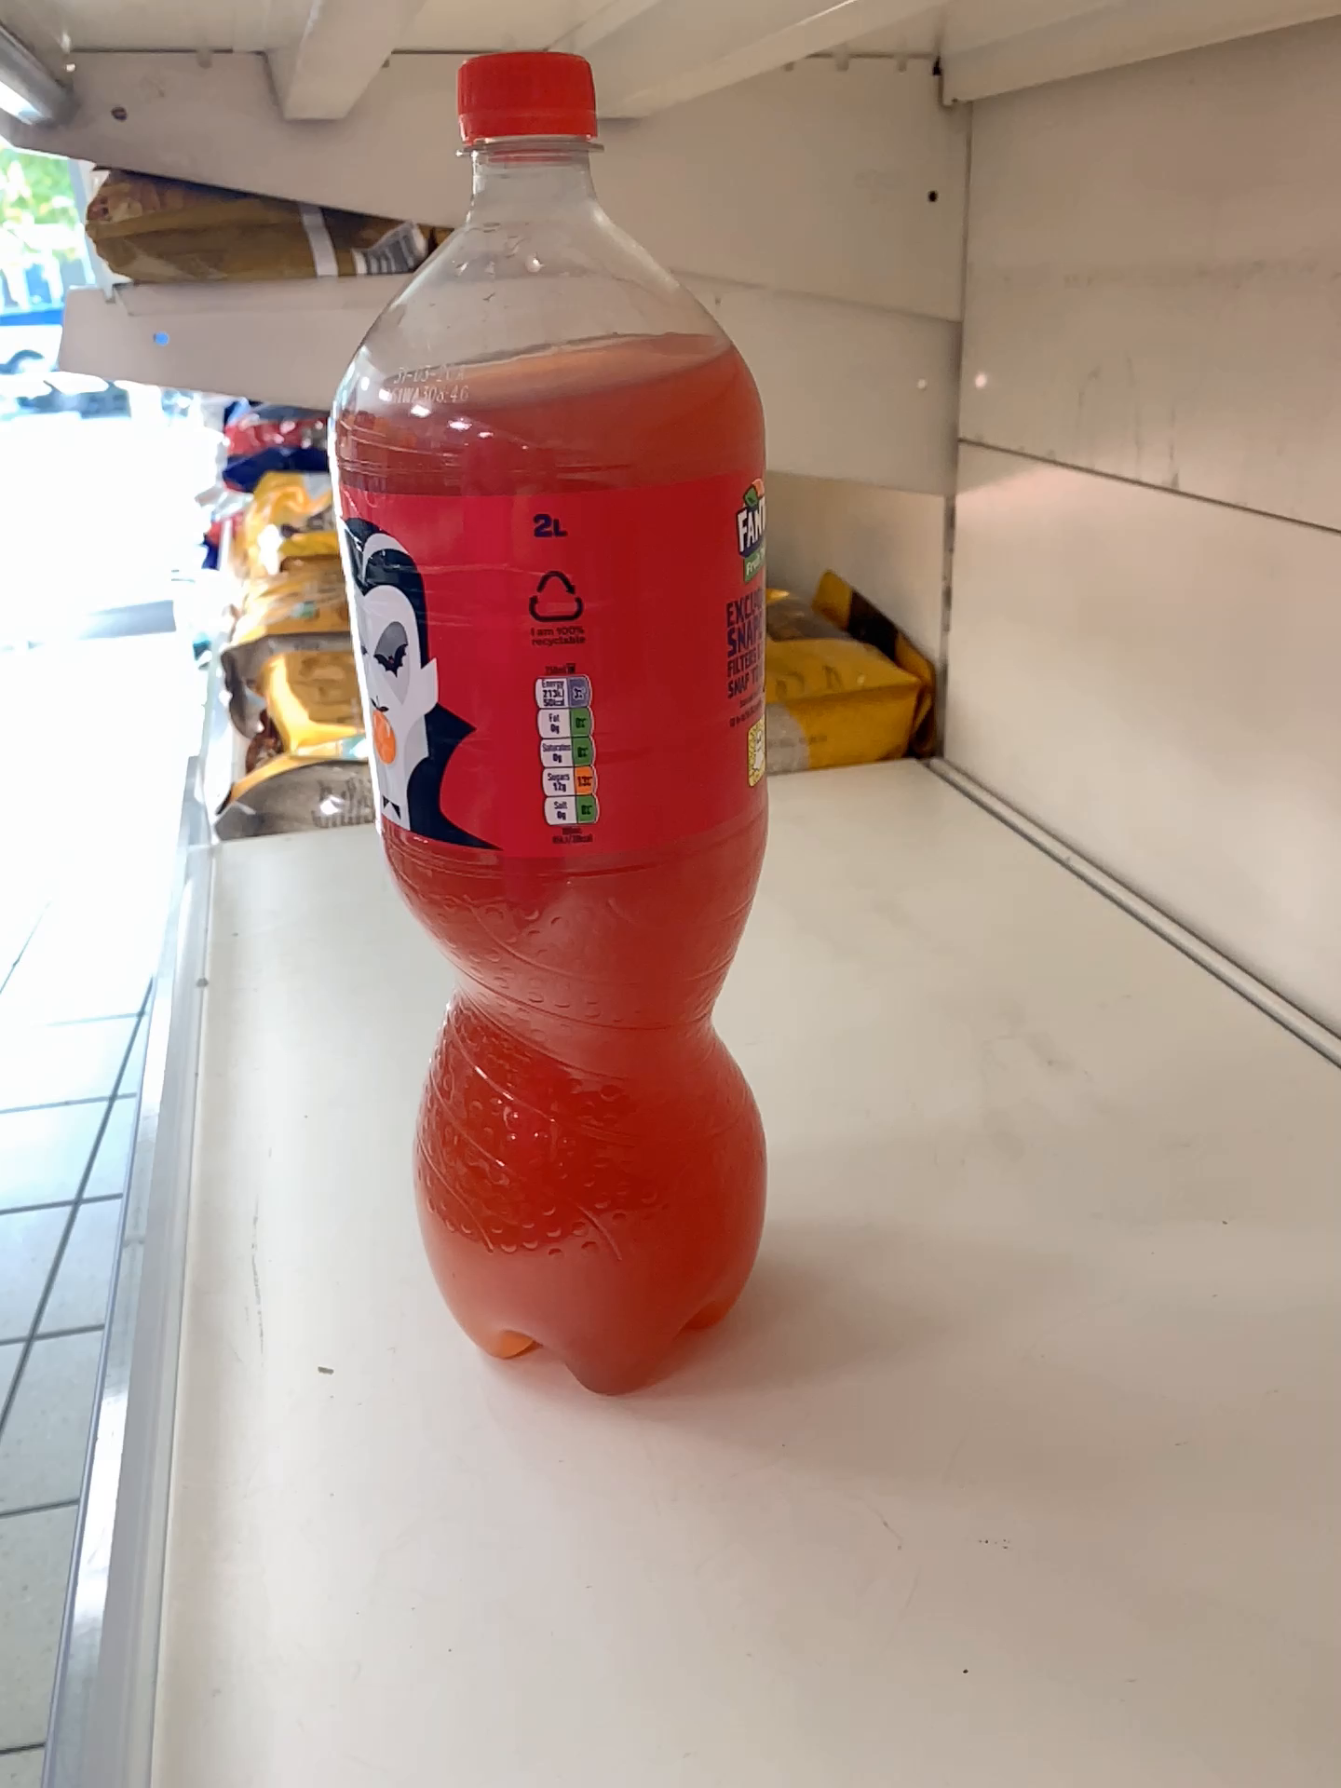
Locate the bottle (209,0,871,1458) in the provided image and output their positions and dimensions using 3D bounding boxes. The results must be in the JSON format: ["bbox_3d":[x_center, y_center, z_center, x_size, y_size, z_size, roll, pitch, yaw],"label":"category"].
[{"bbox_3d":[-0.029,-0.037,0.362,0.110,0.327,0.121,-2,24,1],"label":"bottle"}]
